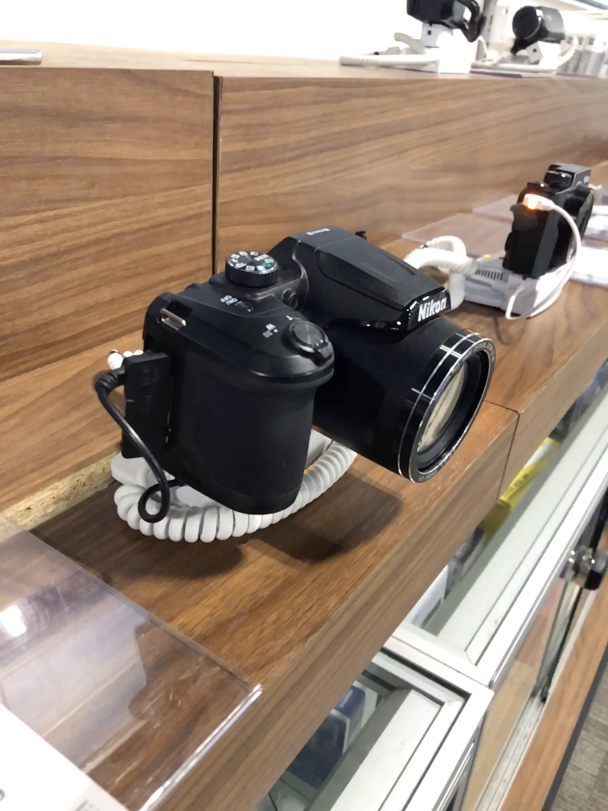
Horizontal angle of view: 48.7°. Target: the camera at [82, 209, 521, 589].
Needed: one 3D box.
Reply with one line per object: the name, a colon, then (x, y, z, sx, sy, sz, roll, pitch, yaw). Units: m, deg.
camera: (0.001, -0.017, 0.253, 0.110, 0.079, 0.110, 21, 32, 30)
